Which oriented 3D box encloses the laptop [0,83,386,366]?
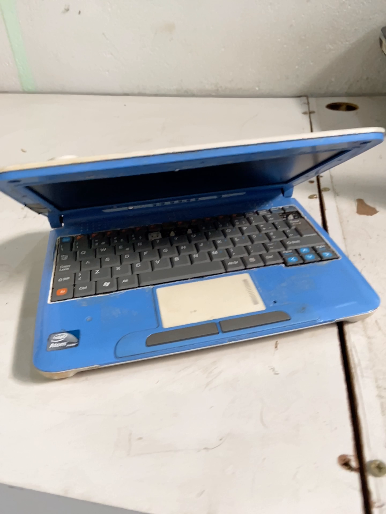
[{"bbox_3d":[-0.002,-0.044,0.315,0.247,0.116,0.183,-8,36,-6],"label":"laptop"}]
